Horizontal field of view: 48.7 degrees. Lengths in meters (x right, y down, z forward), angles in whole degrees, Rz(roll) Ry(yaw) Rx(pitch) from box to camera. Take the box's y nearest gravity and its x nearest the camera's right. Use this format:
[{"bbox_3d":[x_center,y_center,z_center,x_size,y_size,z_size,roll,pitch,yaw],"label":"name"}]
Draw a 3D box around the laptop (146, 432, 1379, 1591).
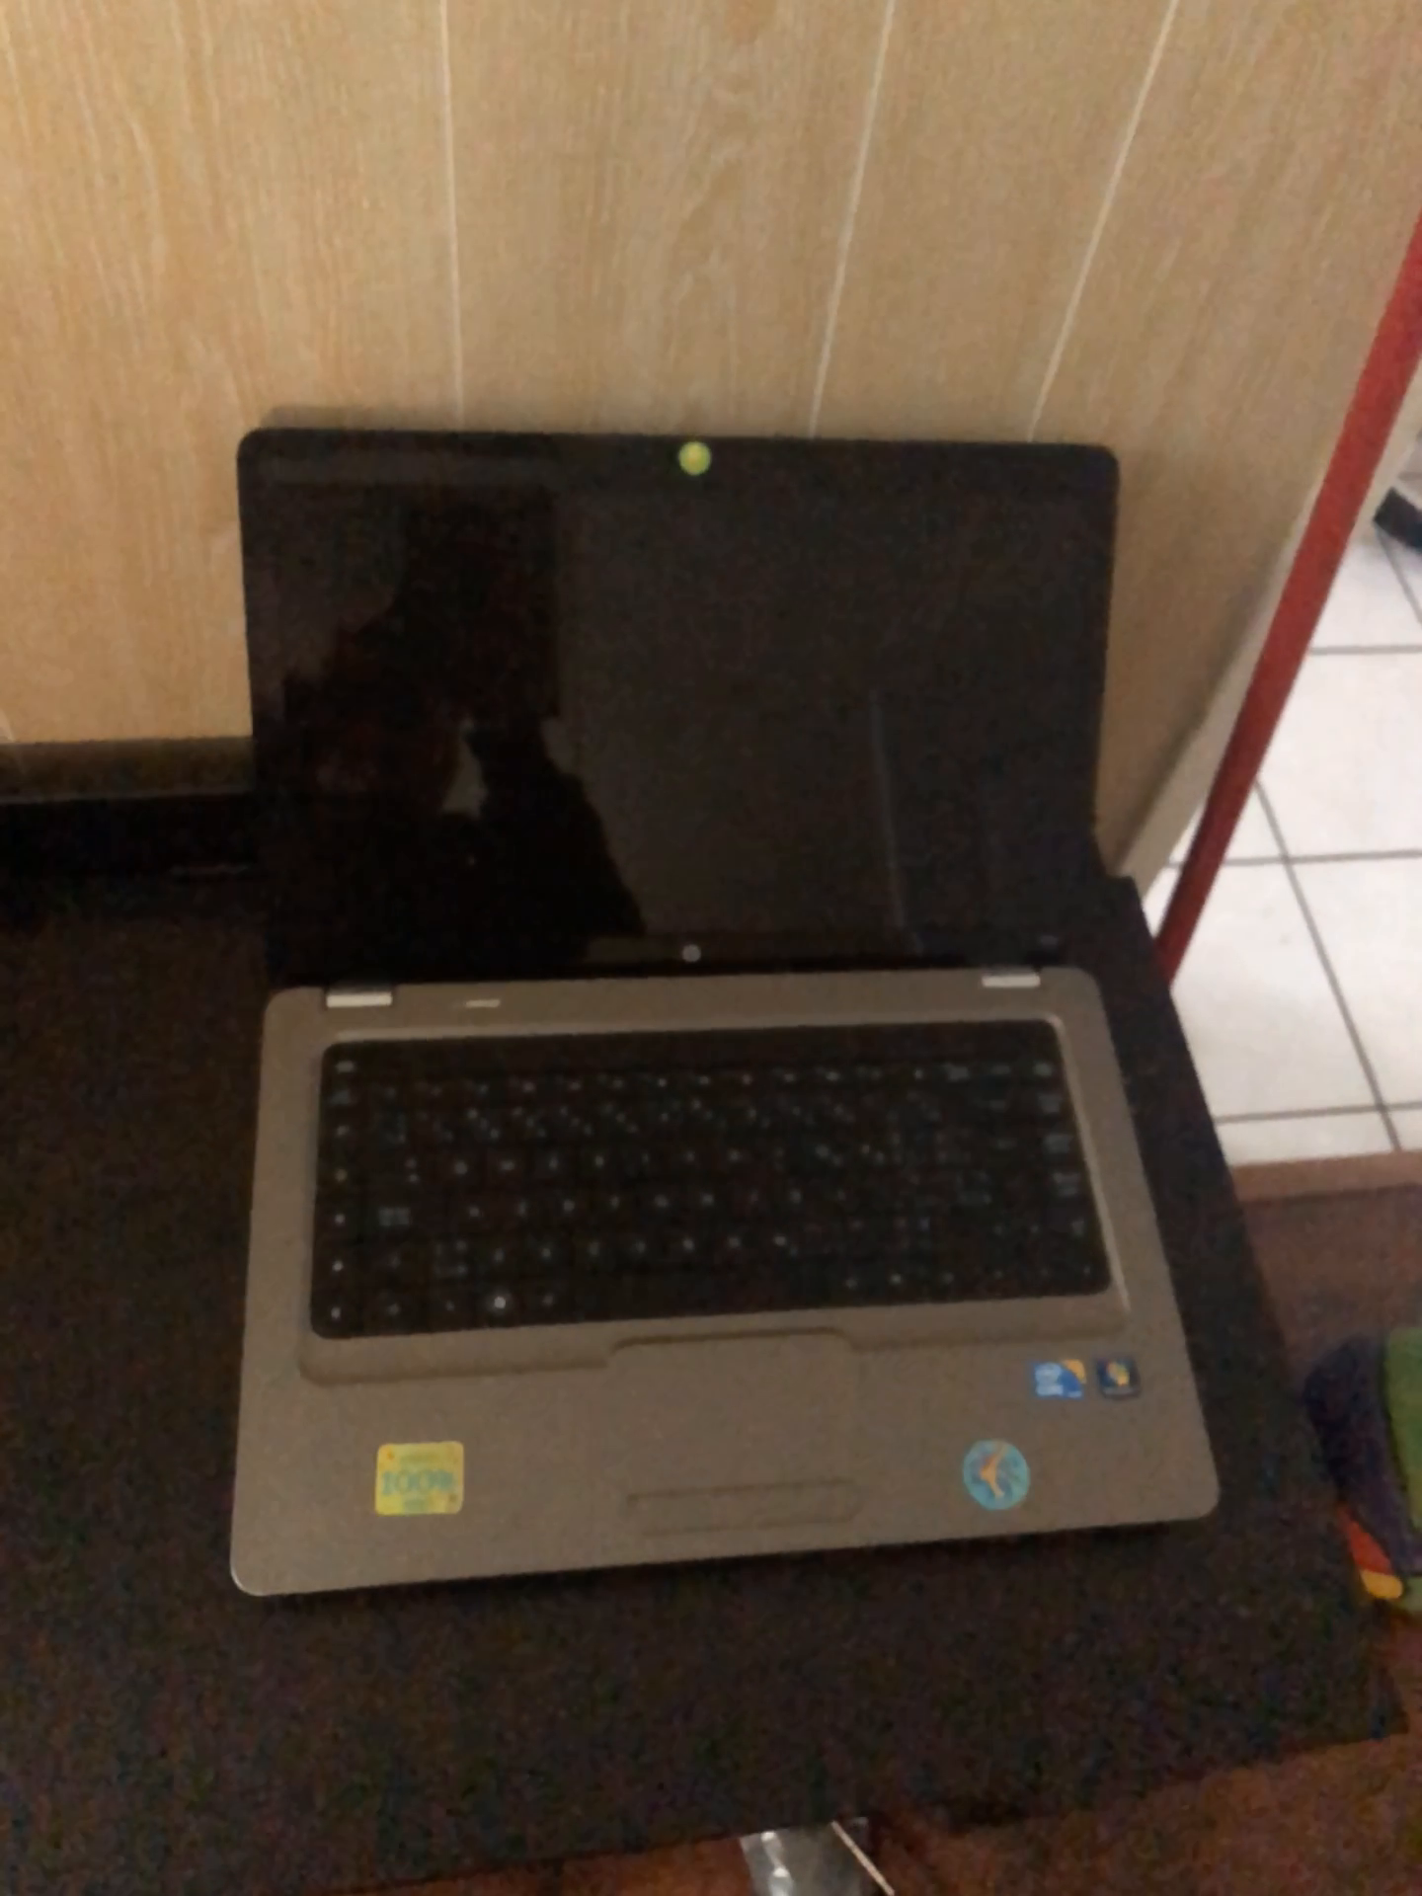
[{"bbox_3d":[0.001,0.005,0.628,0.363,0.155,0.420,-1,59,-8],"label":"laptop"}]
